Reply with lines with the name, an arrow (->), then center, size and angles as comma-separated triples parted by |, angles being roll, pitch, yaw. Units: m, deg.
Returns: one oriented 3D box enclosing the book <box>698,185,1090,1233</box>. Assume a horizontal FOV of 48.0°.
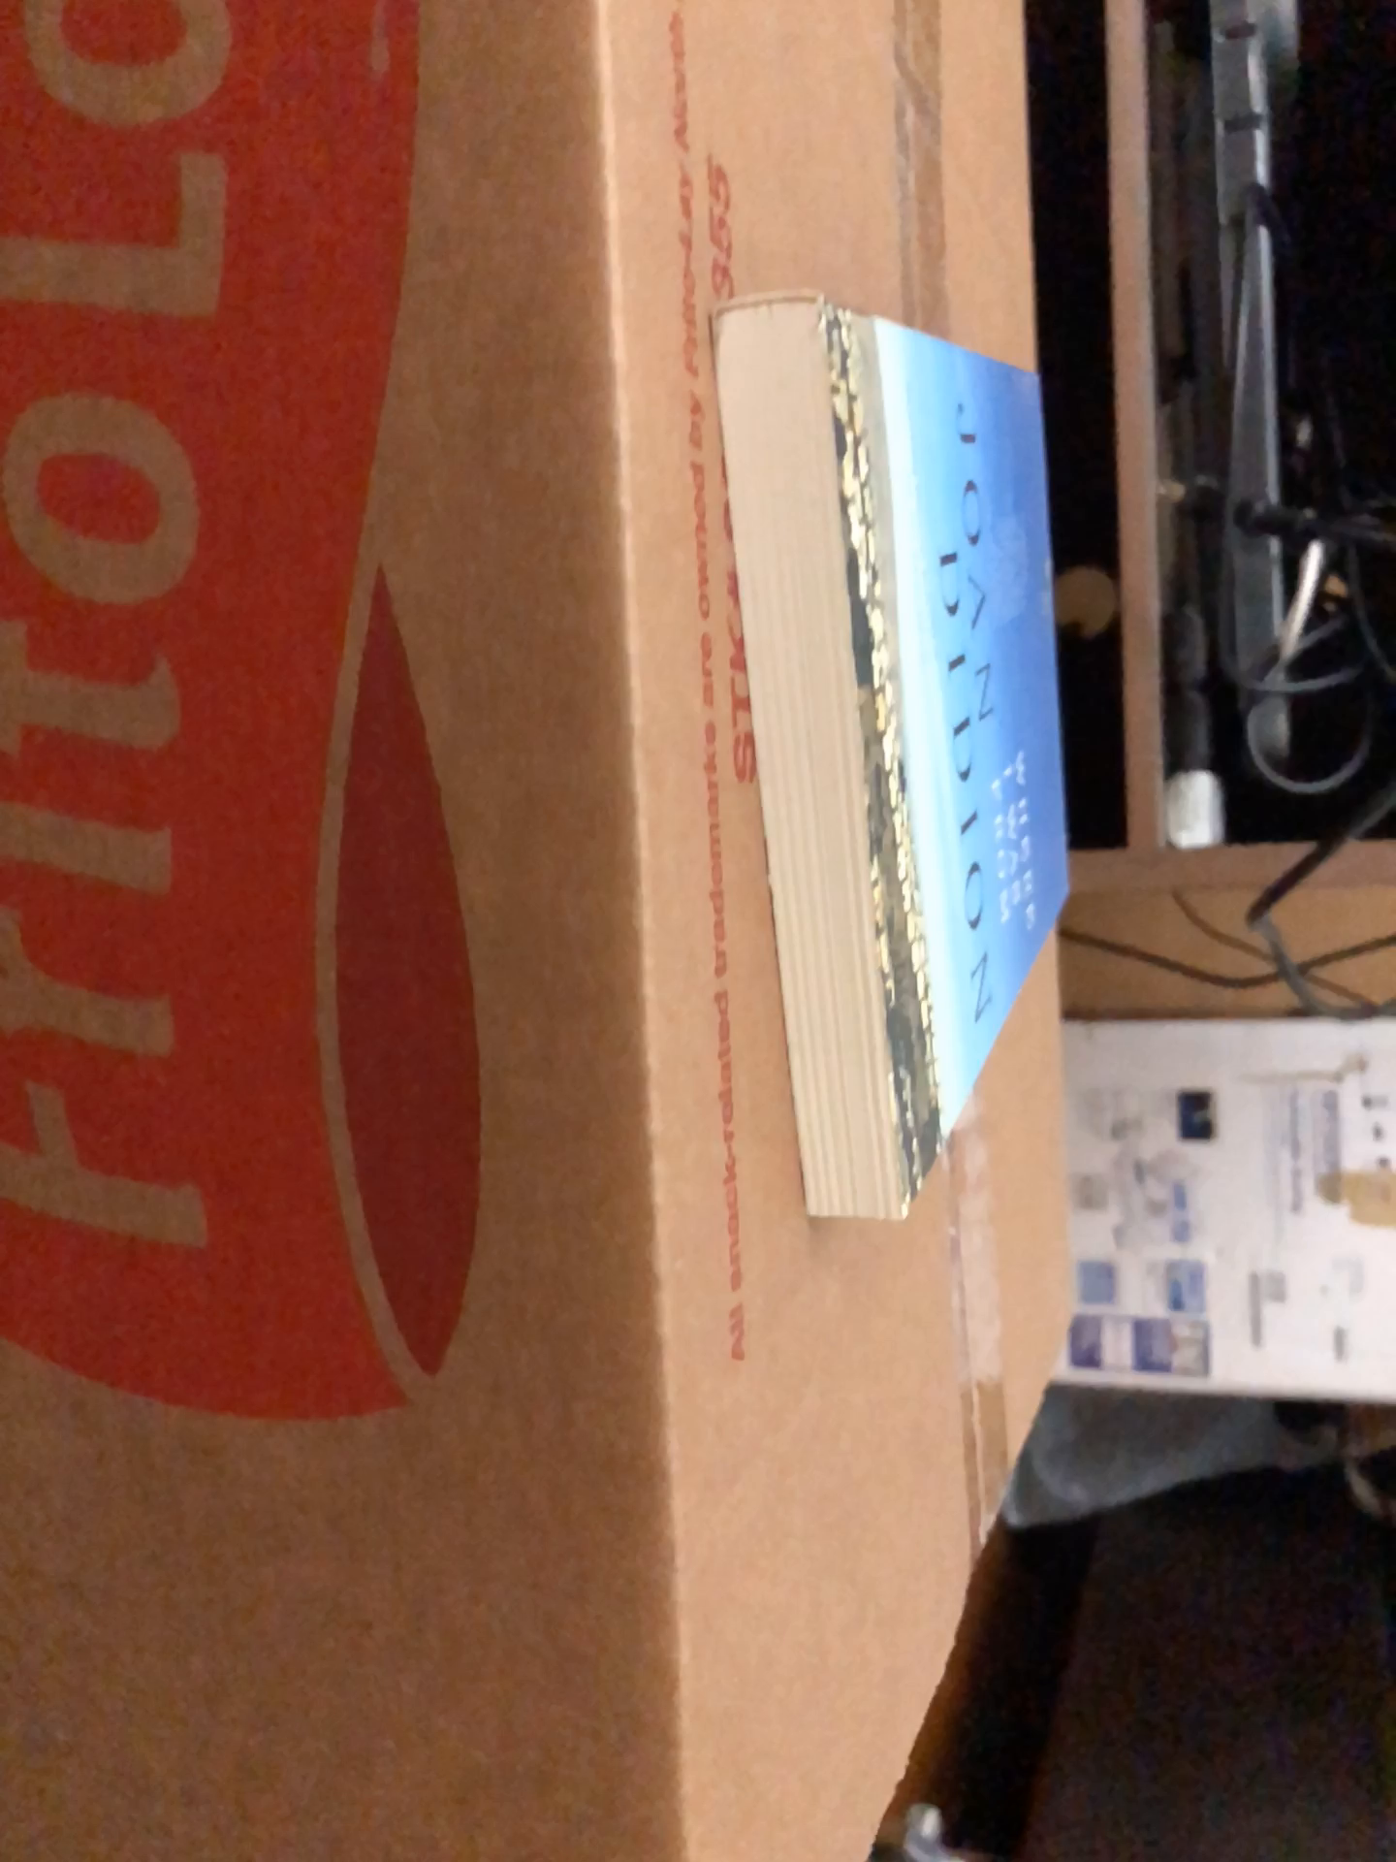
book -> 0.052, -0.052, 0.307 | 0.211, 0.020, 0.140 | -40, 126, -65
